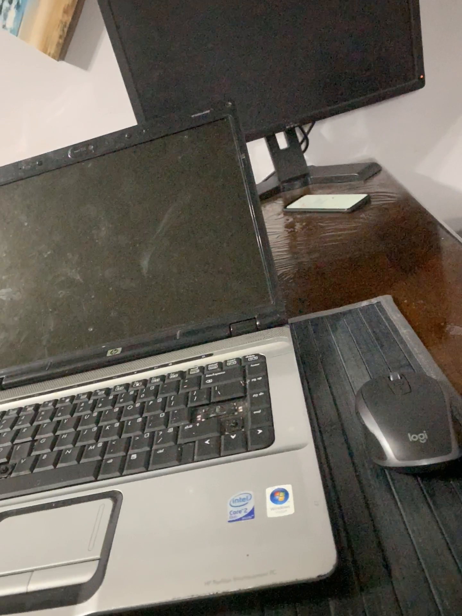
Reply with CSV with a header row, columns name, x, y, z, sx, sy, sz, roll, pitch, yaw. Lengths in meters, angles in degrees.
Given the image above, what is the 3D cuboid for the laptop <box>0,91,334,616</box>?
name,x,y,z,sx,sy,sz,roll,pitch,yaw
laptop,-0.142,-0.013,0.391,0.349,0.186,0.404,-14,28,7
